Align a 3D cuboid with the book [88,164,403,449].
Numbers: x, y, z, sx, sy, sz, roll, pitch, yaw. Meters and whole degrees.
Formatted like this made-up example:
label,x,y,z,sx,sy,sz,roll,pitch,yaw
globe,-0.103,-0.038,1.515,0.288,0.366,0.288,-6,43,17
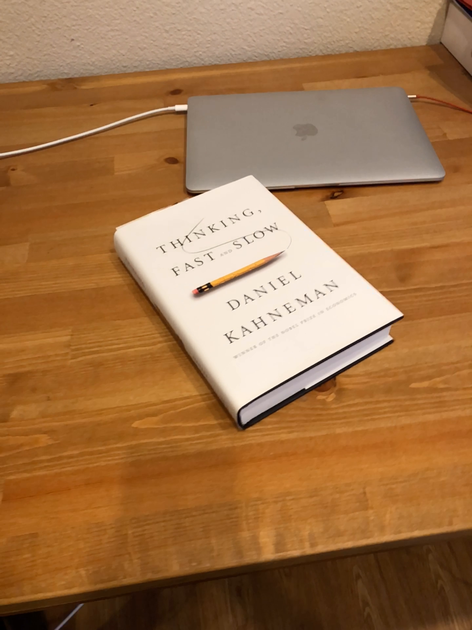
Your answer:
label,x,y,z,sx,sy,sz,roll,pitch,yaw
book,-0.003,-0.029,0.498,0.180,0.060,0.251,-26,53,-19
